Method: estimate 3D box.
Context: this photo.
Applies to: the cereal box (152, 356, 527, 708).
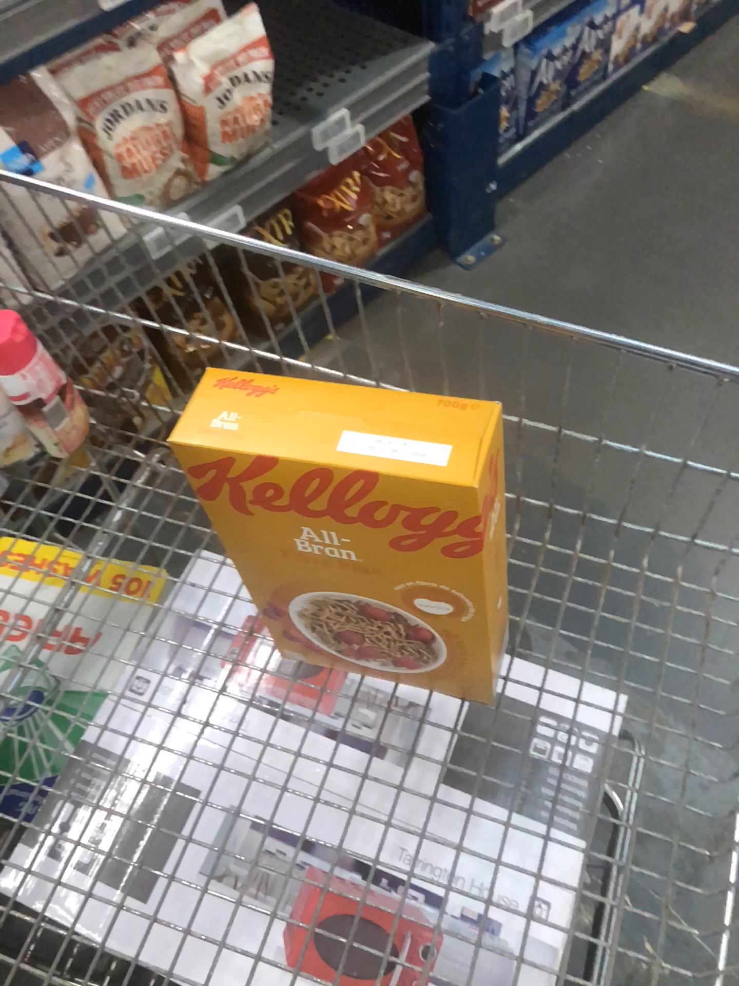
[{"bbox_3d":[0.002,0.041,0.576,0.200,0.289,0.070,9,57,18],"label":"cereal box"}]
